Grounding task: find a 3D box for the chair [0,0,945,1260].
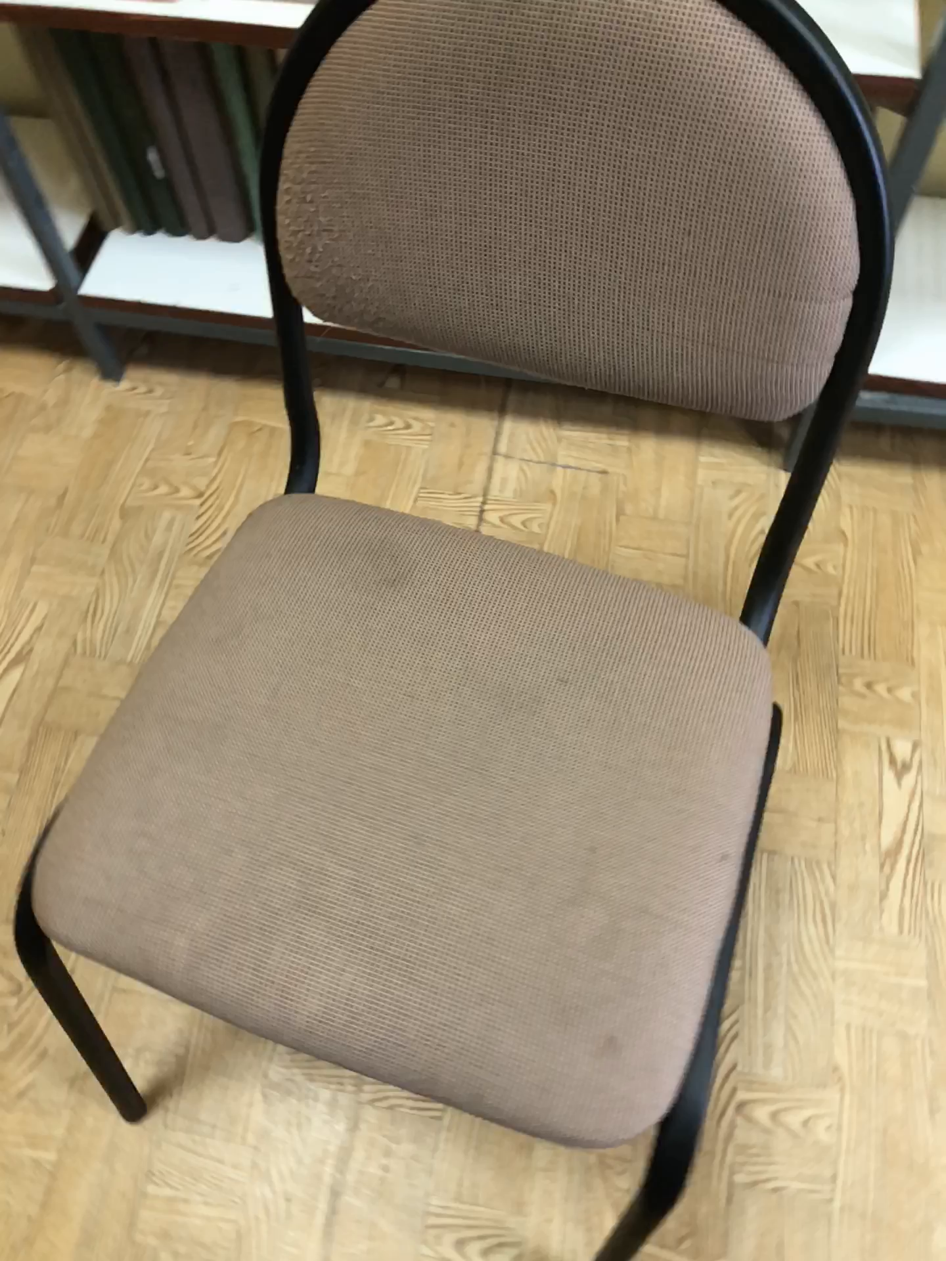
[{"bbox_3d":[-0.025,0.078,0.687,0.478,0.769,0.575,16,63,11],"label":"chair"}]
